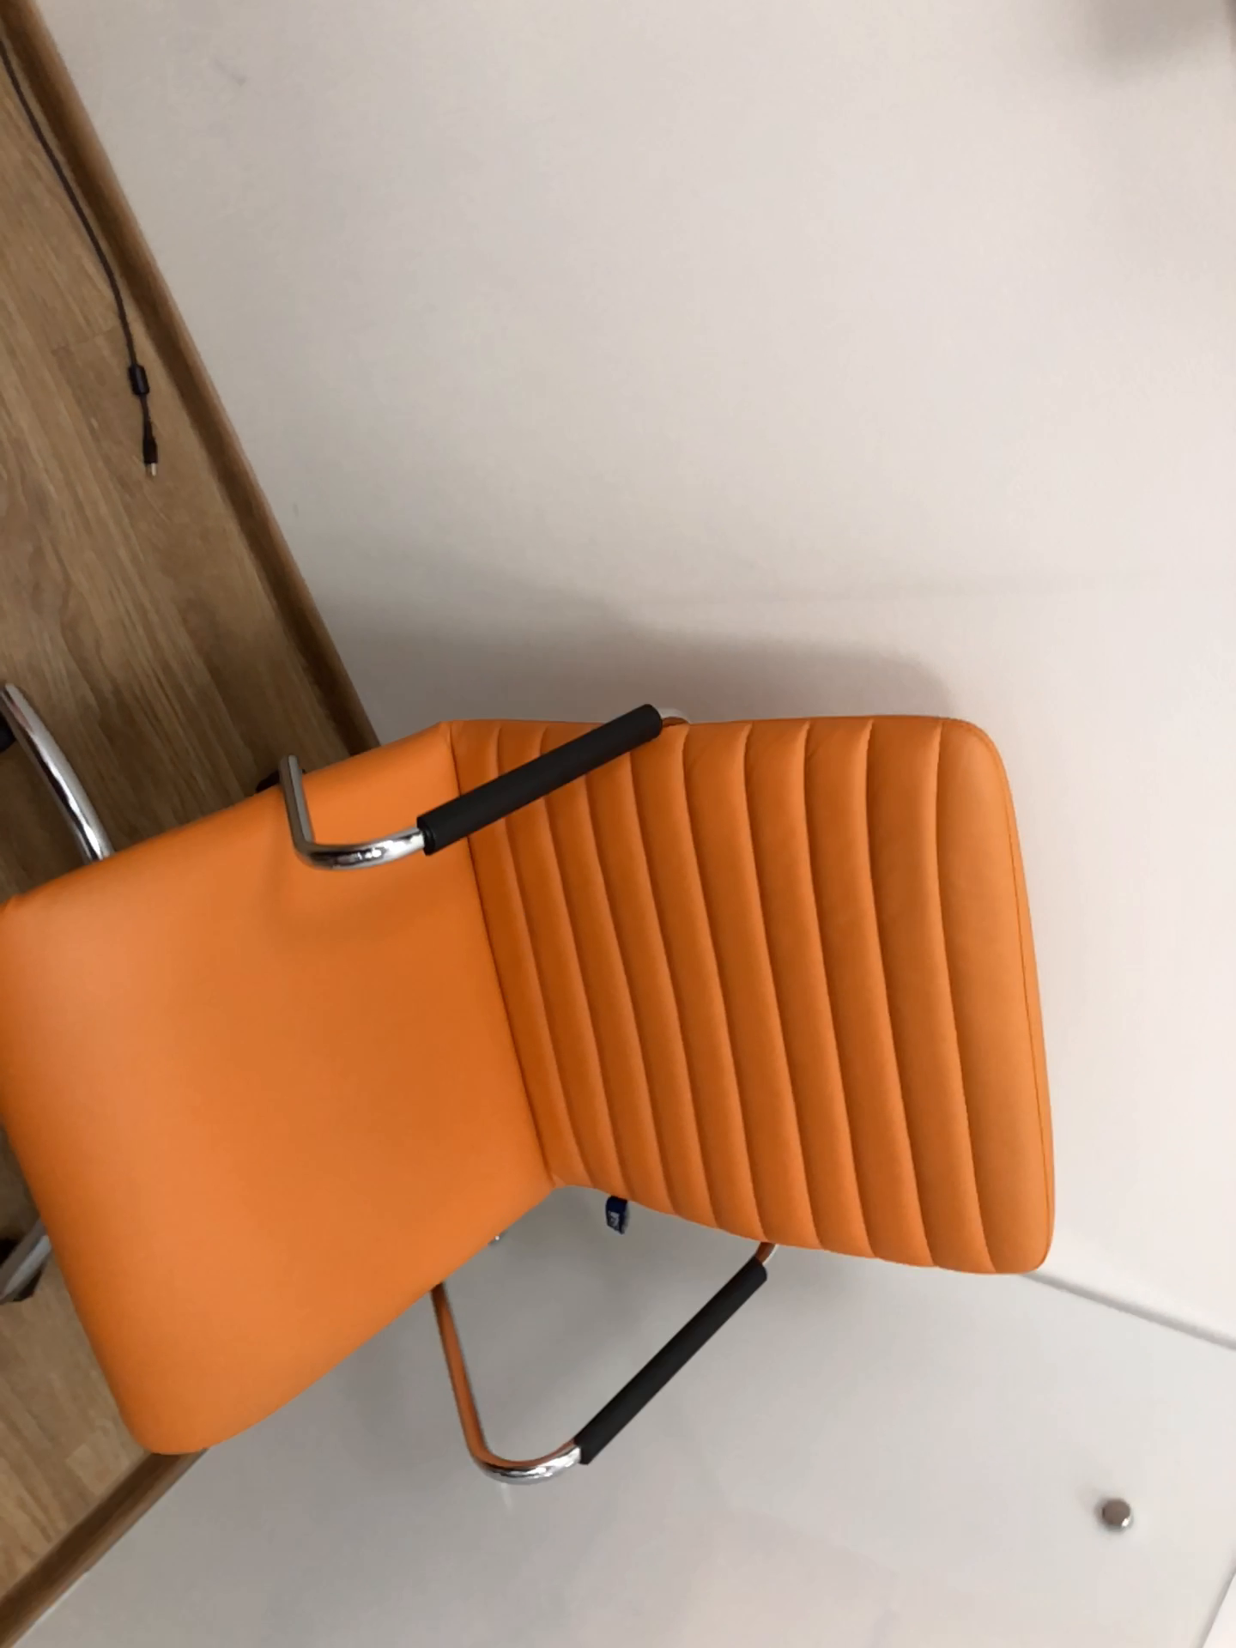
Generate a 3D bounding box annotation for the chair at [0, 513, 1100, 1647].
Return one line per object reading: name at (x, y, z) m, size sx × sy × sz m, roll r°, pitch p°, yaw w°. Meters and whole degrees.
chair at (-0.221, 0.183, 1.092) m, size 0.663 × 0.895 × 0.621 m, roll -35°, pitch 119°, yaw -38°
